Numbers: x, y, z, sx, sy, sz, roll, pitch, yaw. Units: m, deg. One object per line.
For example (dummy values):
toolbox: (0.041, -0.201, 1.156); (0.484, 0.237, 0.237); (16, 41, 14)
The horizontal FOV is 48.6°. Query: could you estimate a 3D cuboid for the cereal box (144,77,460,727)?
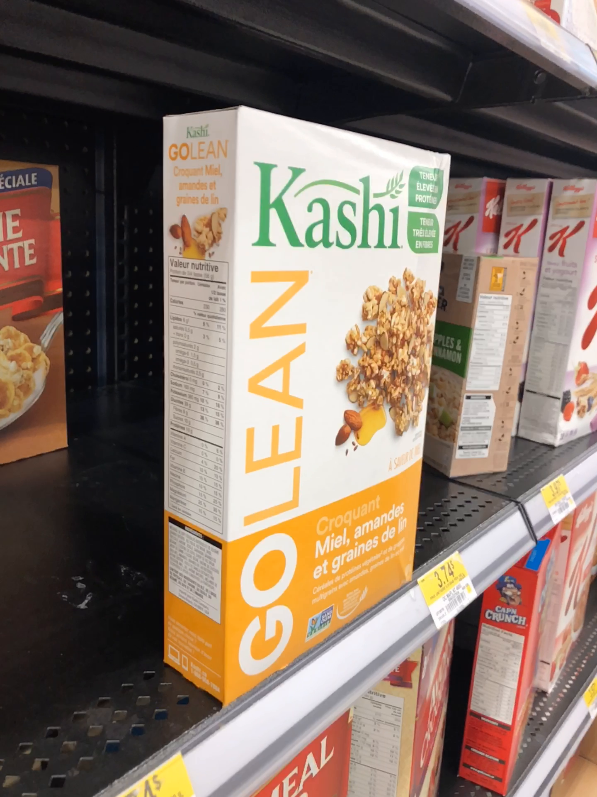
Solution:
cereal box: (0.006, -0.002, 0.344); (0.050, 0.269, 0.170); (15, 18, 39)
